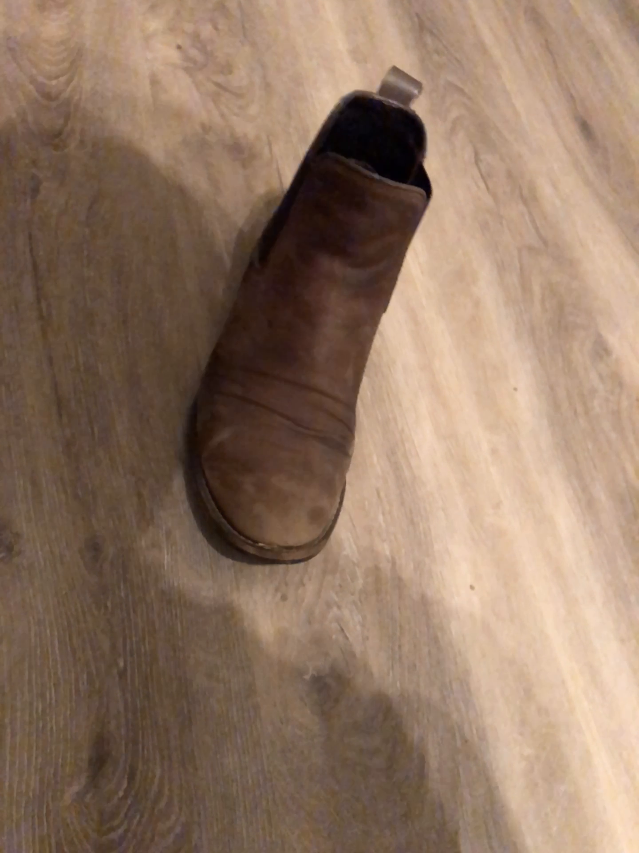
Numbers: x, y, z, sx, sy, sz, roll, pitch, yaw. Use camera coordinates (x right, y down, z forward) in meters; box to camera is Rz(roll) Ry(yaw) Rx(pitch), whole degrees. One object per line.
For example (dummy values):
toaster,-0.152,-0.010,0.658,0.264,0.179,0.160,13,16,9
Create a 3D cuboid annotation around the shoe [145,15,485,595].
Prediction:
shoe,0.002,-0.061,0.364,0.100,0.139,0.241,17,56,-14
